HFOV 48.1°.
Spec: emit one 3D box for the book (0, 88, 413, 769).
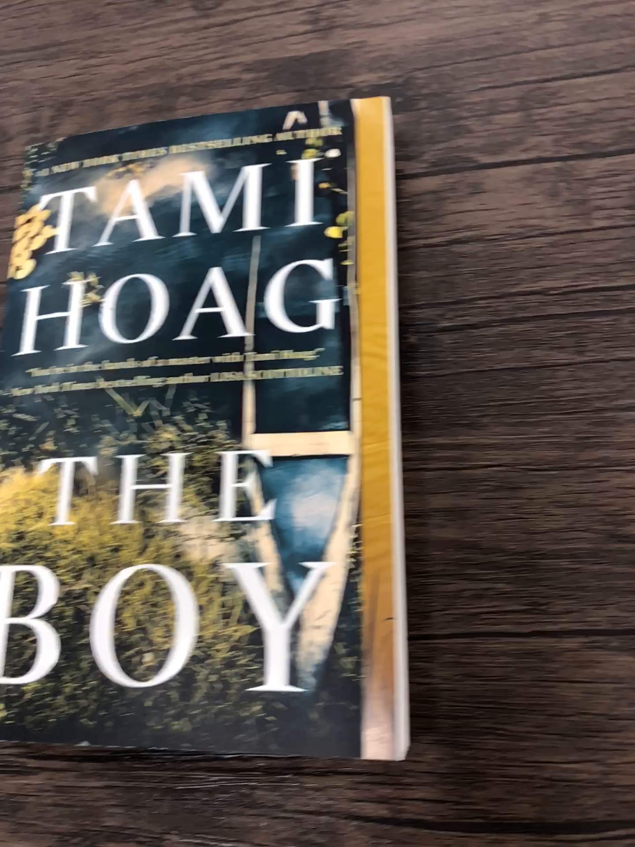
[{"bbox_3d":[-0.042,-0.004,0.234,0.139,0.032,0.202,-3,73,13],"label":"book"}]
